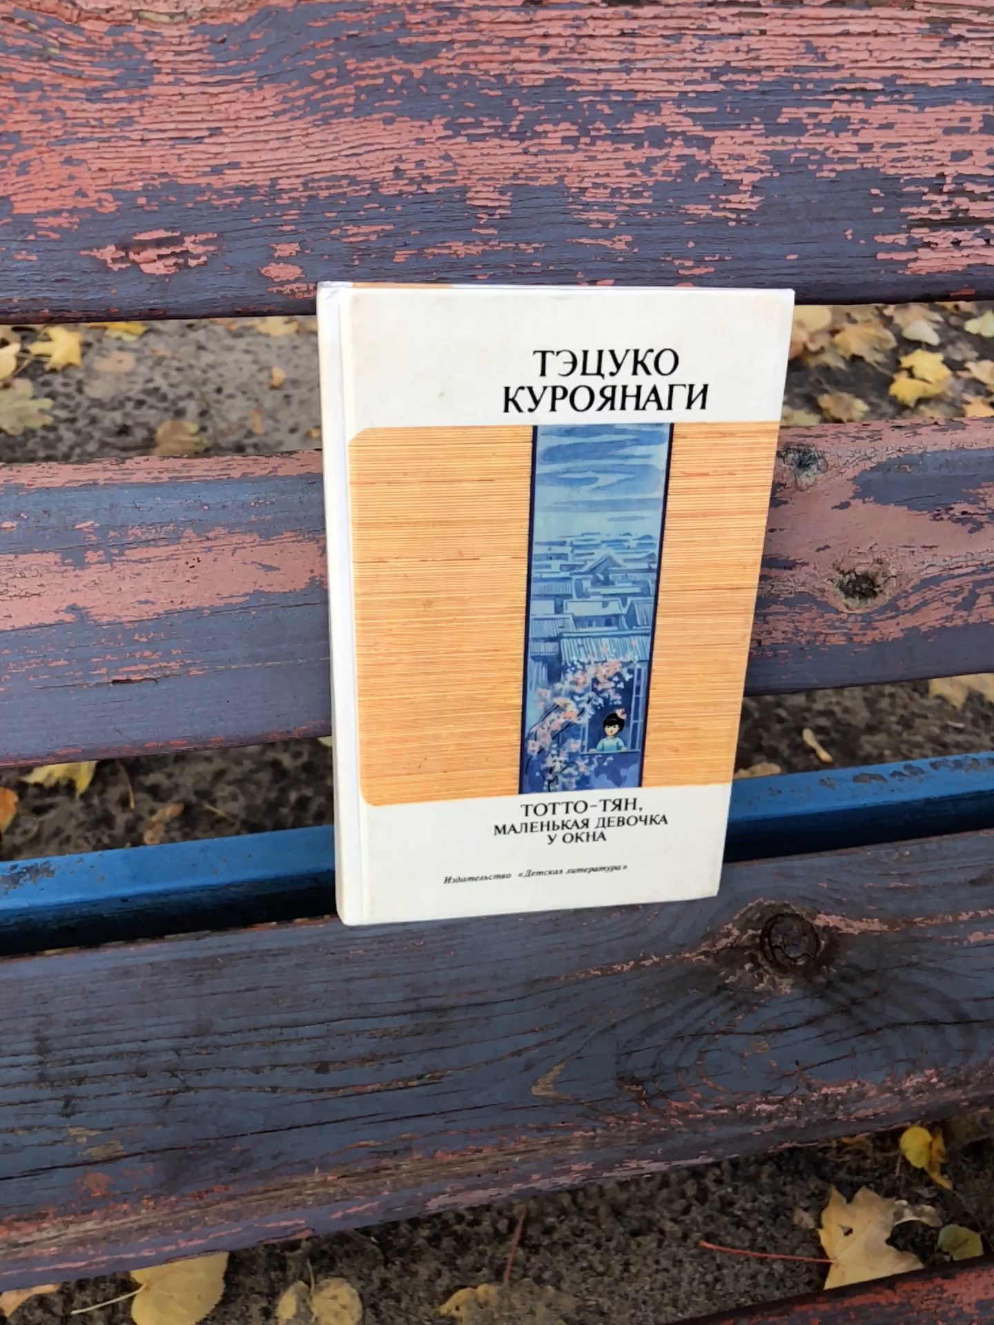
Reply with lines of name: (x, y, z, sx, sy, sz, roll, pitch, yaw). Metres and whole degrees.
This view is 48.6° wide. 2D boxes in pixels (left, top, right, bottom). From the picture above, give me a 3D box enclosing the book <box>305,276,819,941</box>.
book: (0.014, -0.008, 0.327, 0.134, 0.198, 0.016, -3, 26, -12)
